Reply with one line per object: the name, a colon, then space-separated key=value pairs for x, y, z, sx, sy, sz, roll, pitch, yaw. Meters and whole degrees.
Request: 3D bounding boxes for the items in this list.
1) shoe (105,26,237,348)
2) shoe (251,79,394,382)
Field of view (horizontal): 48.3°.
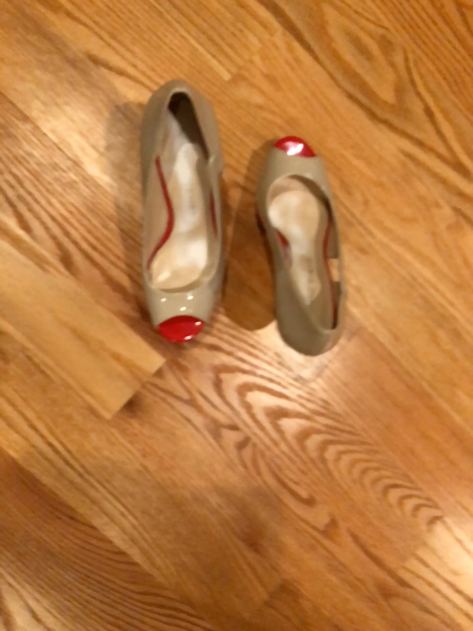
shoe: x=-0.054 y=-0.087 z=0.426 sx=0.085 sy=0.130 sz=0.215 roll=1 pitch=91 yaw=-9
shoe: x=0.067 y=-0.063 z=0.464 sx=0.080 sy=0.150 sz=0.220 roll=-1 pitch=91 yaw=-9
